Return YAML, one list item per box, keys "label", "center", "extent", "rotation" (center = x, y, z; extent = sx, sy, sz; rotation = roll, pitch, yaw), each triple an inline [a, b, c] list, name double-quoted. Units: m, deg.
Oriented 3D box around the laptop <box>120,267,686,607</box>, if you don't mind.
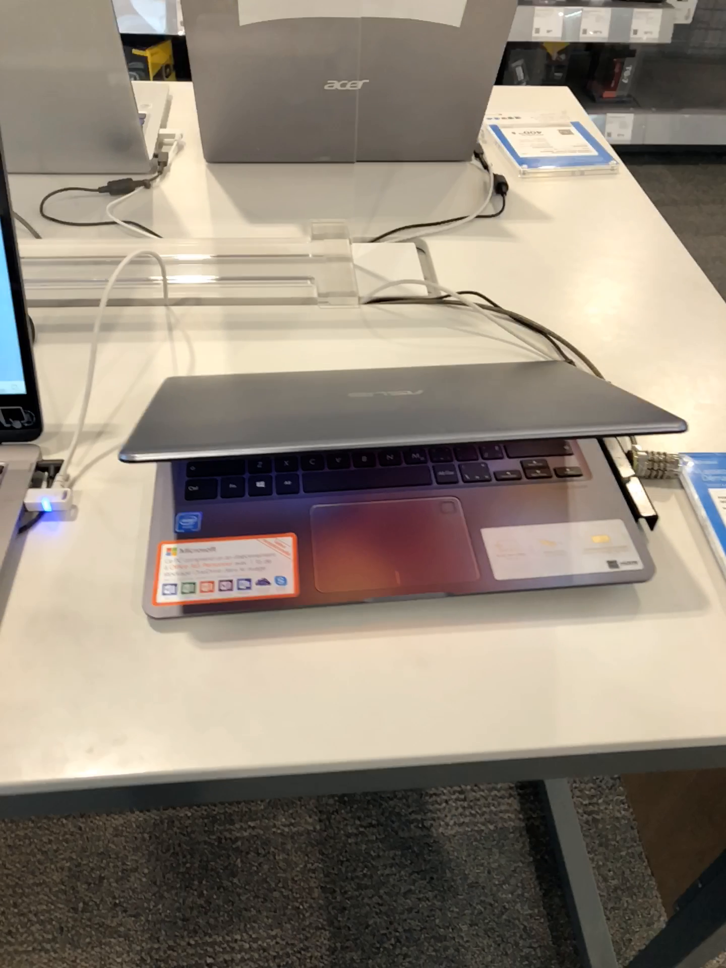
- label: "laptop"
  center: [0.013, -0.042, 0.522]
  extent: [0.300, 0.099, 0.202]
  rotation: [-3, 46, -7]
